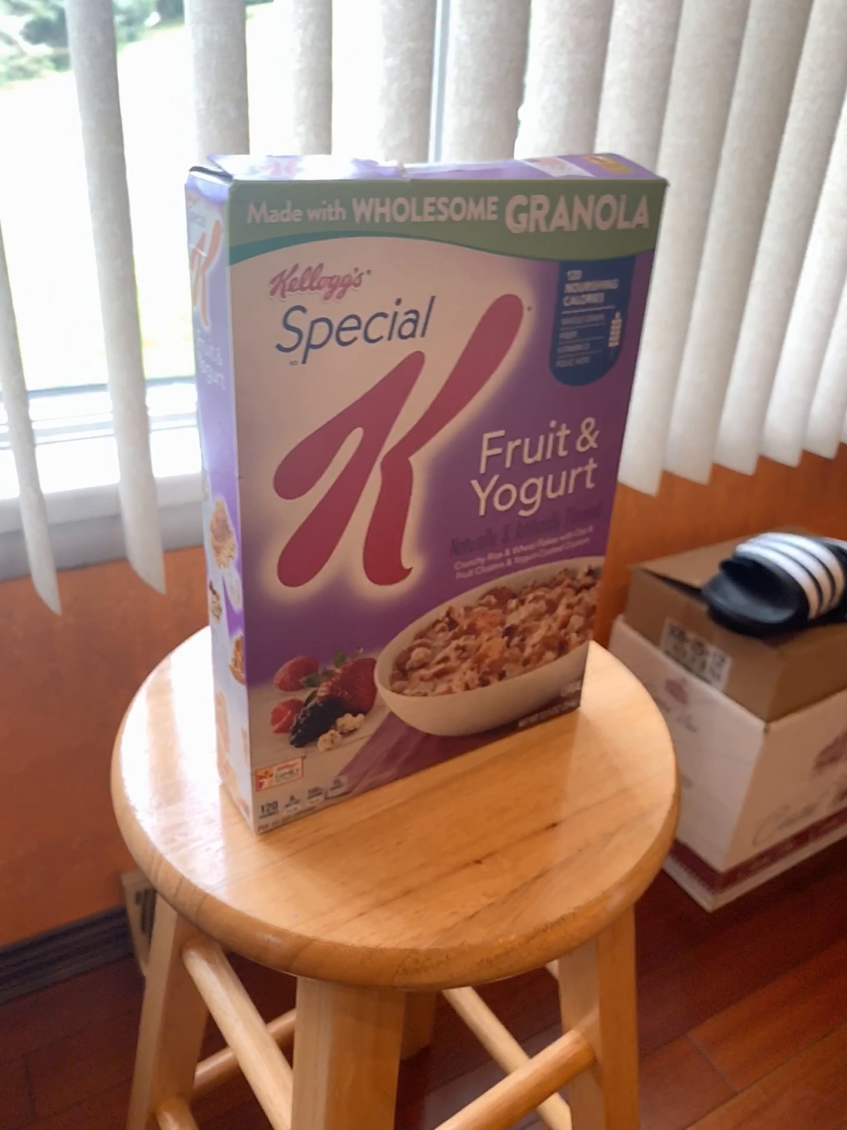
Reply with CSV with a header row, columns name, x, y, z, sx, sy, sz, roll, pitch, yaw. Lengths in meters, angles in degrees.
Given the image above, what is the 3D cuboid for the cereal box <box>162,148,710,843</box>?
name,x,y,z,sx,sy,sz,roll,pitch,yaw
cereal box,0.005,-0.035,0.409,0.210,0.278,0.070,-14,32,-29
